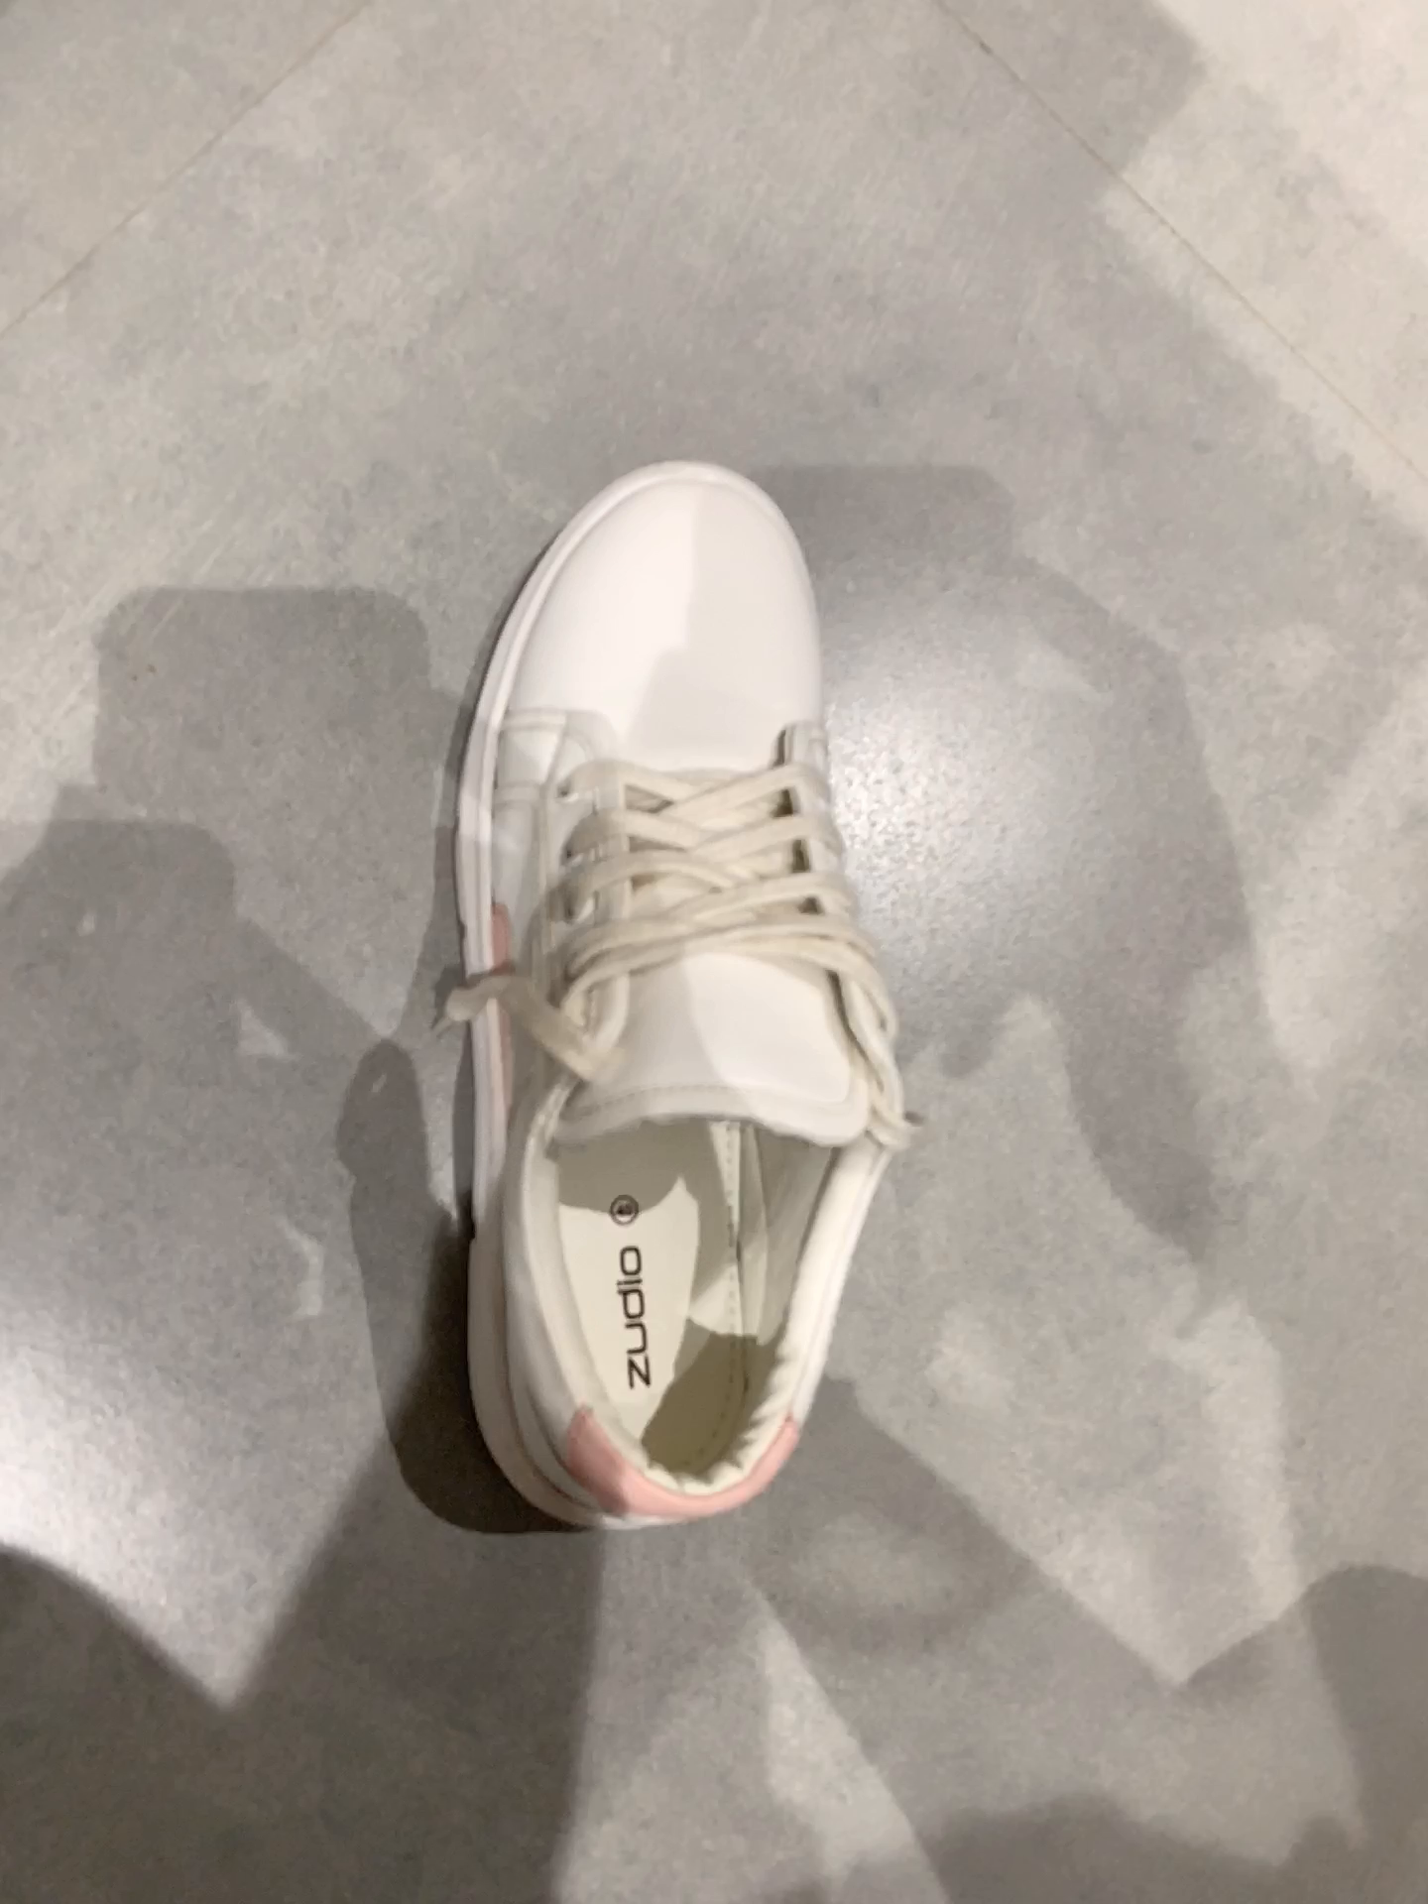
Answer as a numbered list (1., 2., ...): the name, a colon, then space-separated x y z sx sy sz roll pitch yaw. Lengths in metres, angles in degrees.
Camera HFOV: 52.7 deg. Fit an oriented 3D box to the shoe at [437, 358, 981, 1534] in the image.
1. shoe: -0.006 0.001 0.363 0.110 0.100 0.250 3 81 -13
